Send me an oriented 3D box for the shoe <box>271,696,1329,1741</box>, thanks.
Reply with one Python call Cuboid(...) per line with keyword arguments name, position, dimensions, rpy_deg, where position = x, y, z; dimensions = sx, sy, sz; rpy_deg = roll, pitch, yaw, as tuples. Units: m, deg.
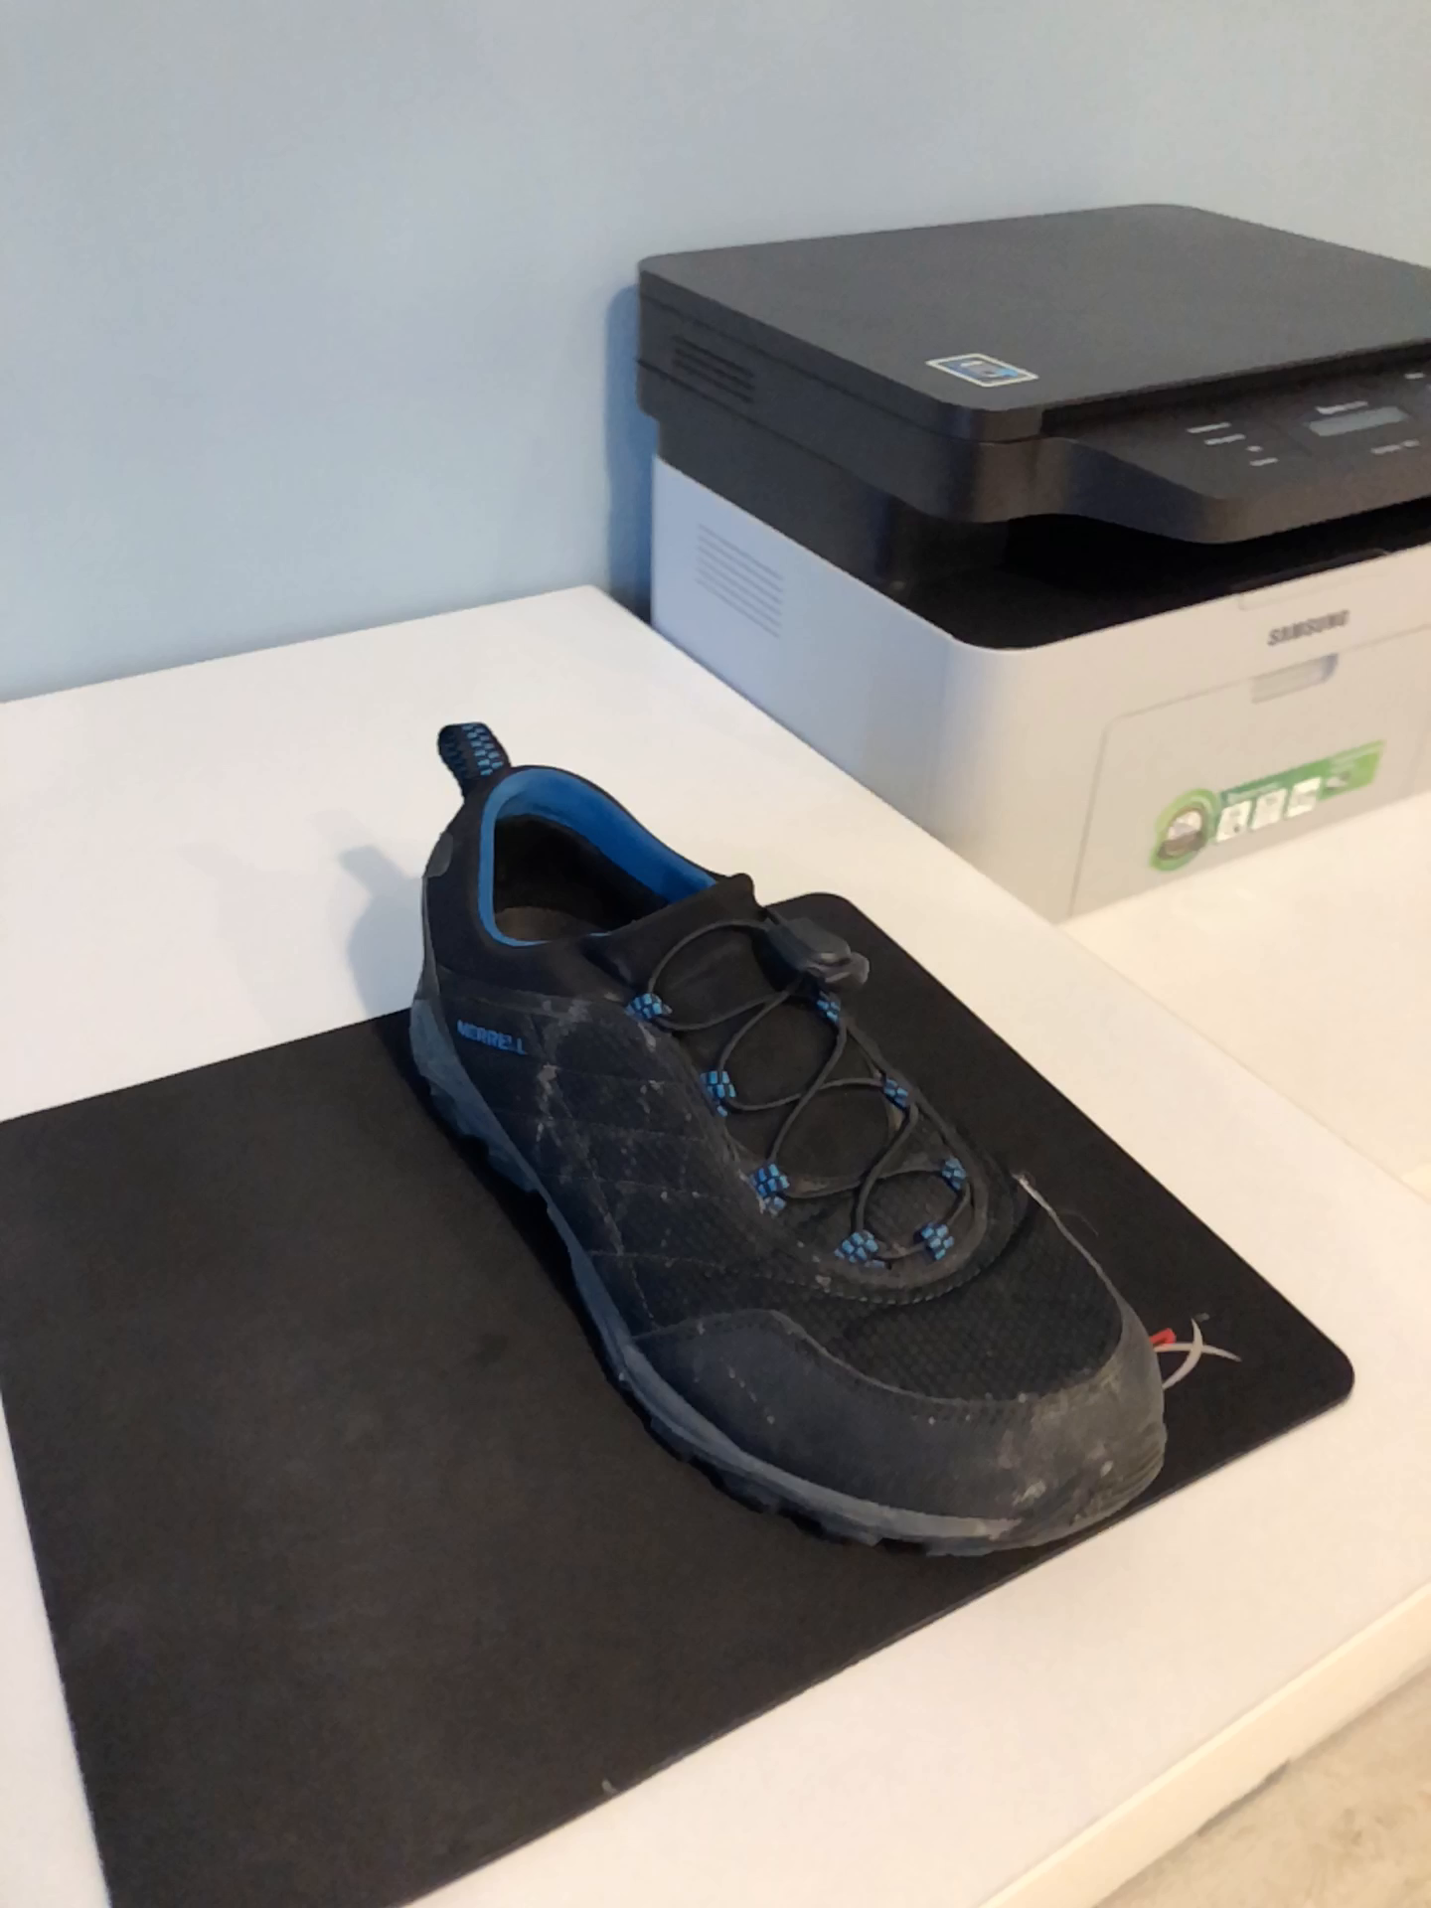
Cuboid(name="shoe", position=(0.001, 0.046, 0.466), dimensions=(0.130, 0.109, 0.301), rpy_deg=(-23, 43, -31))
